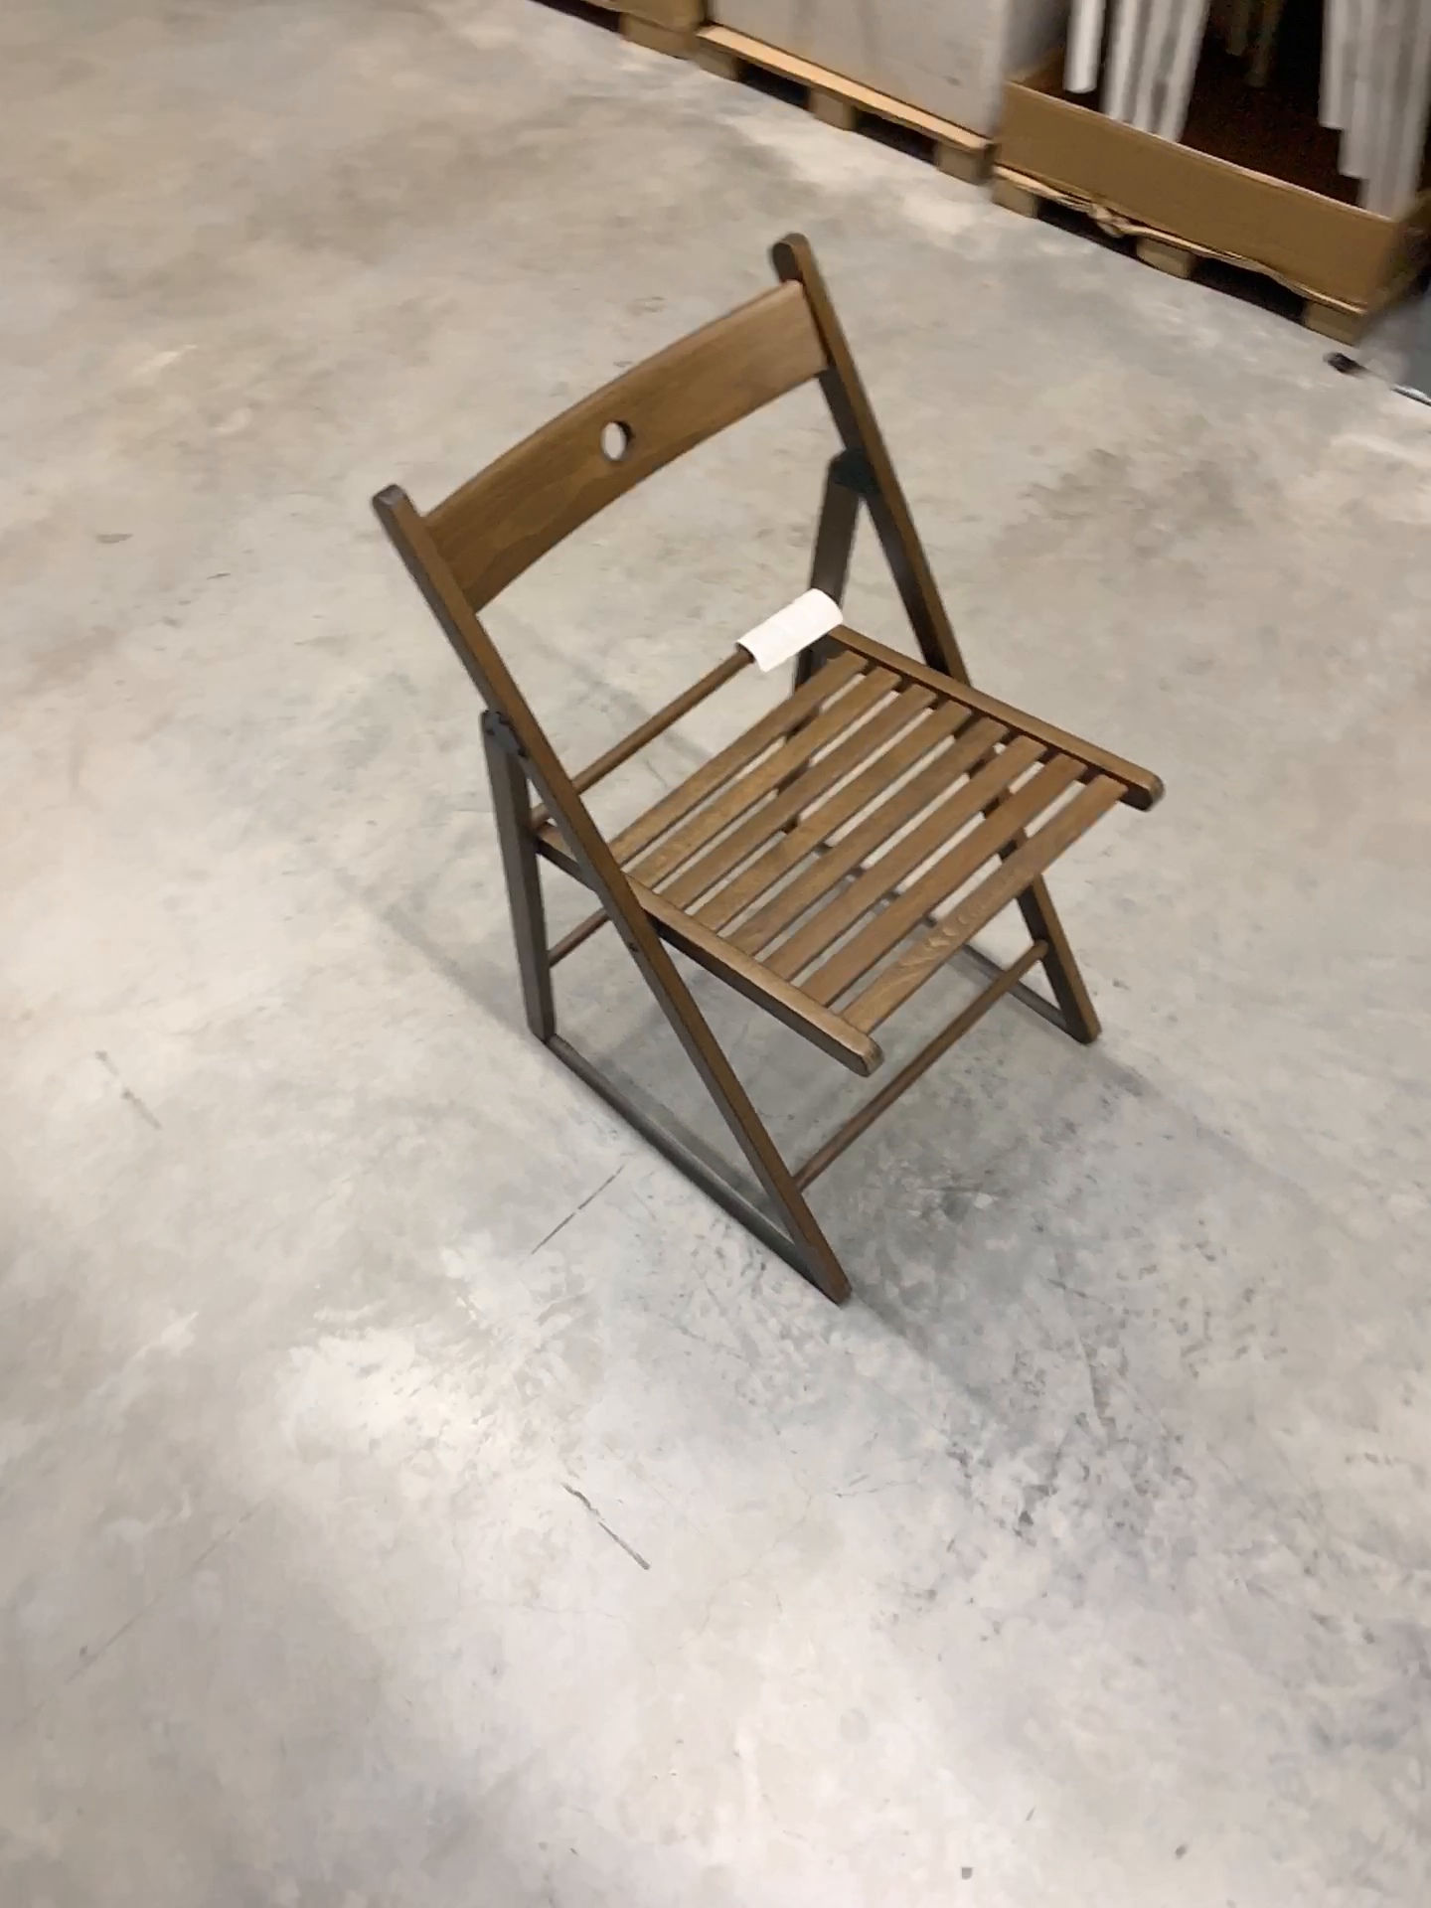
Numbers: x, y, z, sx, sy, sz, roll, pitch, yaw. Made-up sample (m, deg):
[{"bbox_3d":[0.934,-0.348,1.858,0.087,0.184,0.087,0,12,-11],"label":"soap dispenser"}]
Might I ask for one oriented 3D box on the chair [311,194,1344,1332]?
[{"bbox_3d":[0.091,-0.133,1.262,0.501,0.698,0.480,38,66,26],"label":"chair"}]
